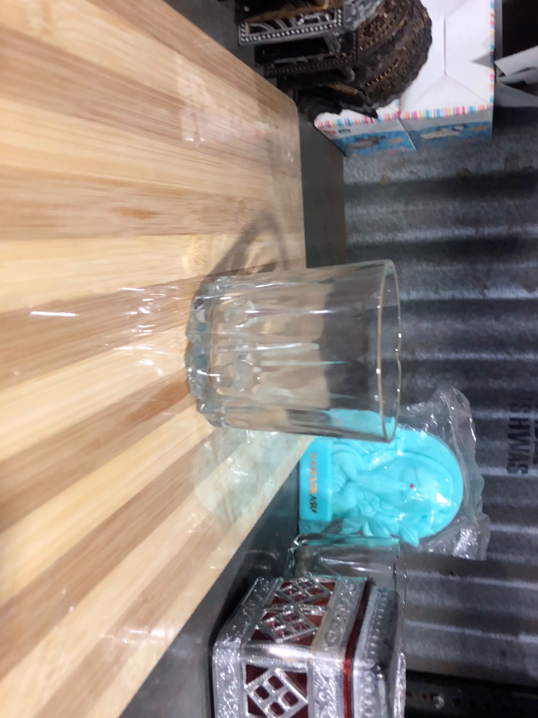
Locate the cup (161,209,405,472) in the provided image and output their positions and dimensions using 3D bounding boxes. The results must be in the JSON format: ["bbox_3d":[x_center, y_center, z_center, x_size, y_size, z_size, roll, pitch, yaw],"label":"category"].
[{"bbox_3d":[0.015,-0.004,0.258,0.080,0.080,0.080,0,90,-74],"label":"cup"}]
